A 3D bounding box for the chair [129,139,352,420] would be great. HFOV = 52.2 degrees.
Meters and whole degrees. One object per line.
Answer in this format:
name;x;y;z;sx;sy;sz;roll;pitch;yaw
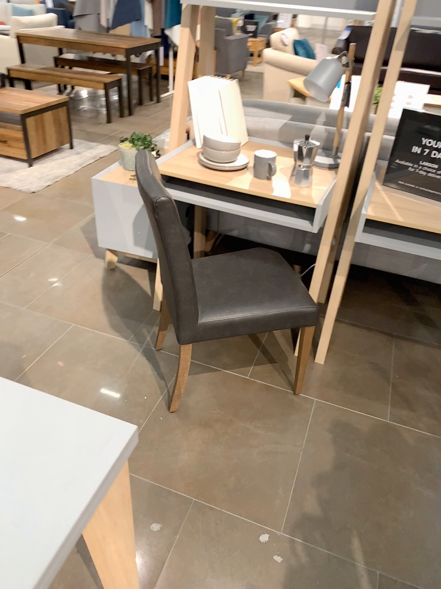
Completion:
chair;0.012;-0.060;1.691;0.605;0.886;0.461;-6;35;-15
